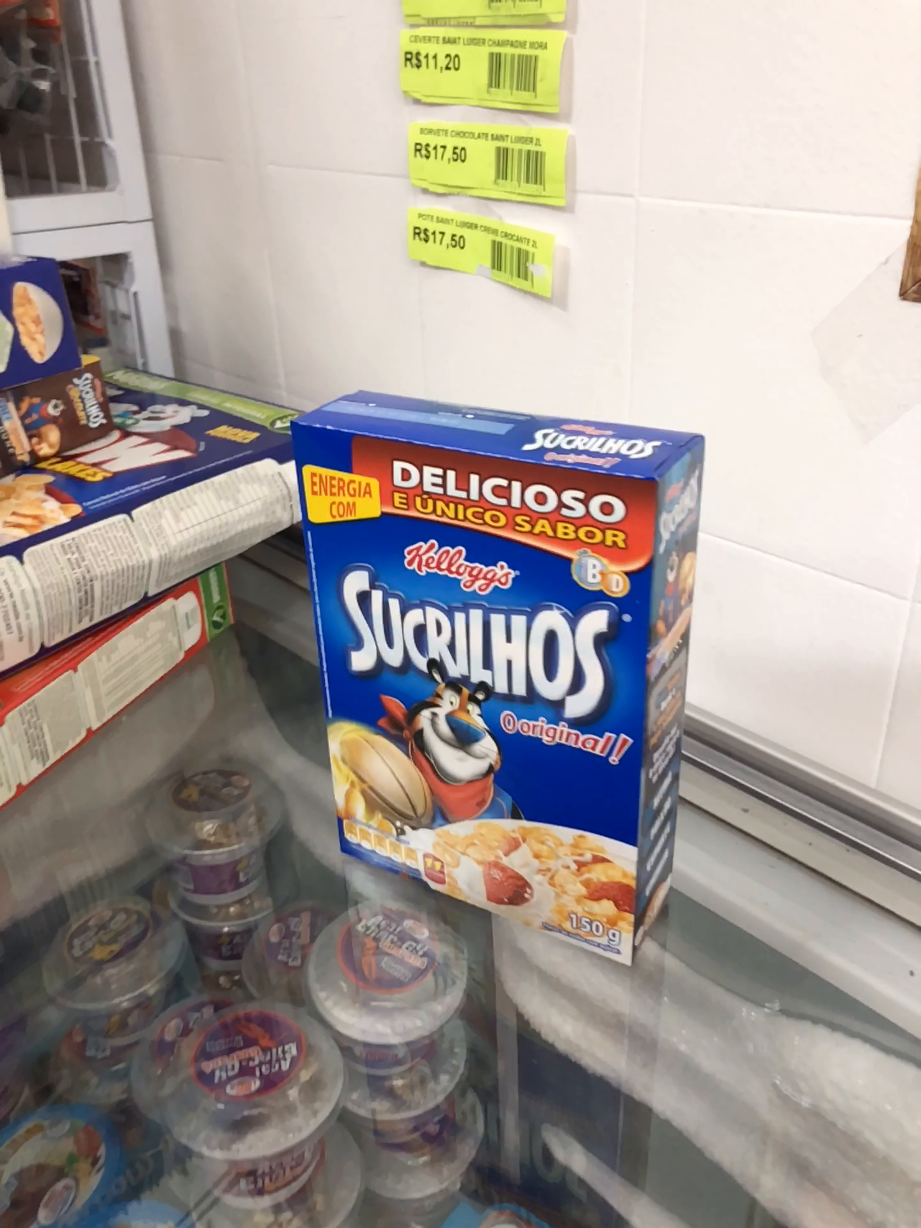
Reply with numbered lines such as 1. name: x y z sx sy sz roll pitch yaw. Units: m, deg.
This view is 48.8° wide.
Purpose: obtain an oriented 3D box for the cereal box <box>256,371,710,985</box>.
1. cereal box: 0.008 0.023 0.376 0.140 0.199 0.050 14 33 27
